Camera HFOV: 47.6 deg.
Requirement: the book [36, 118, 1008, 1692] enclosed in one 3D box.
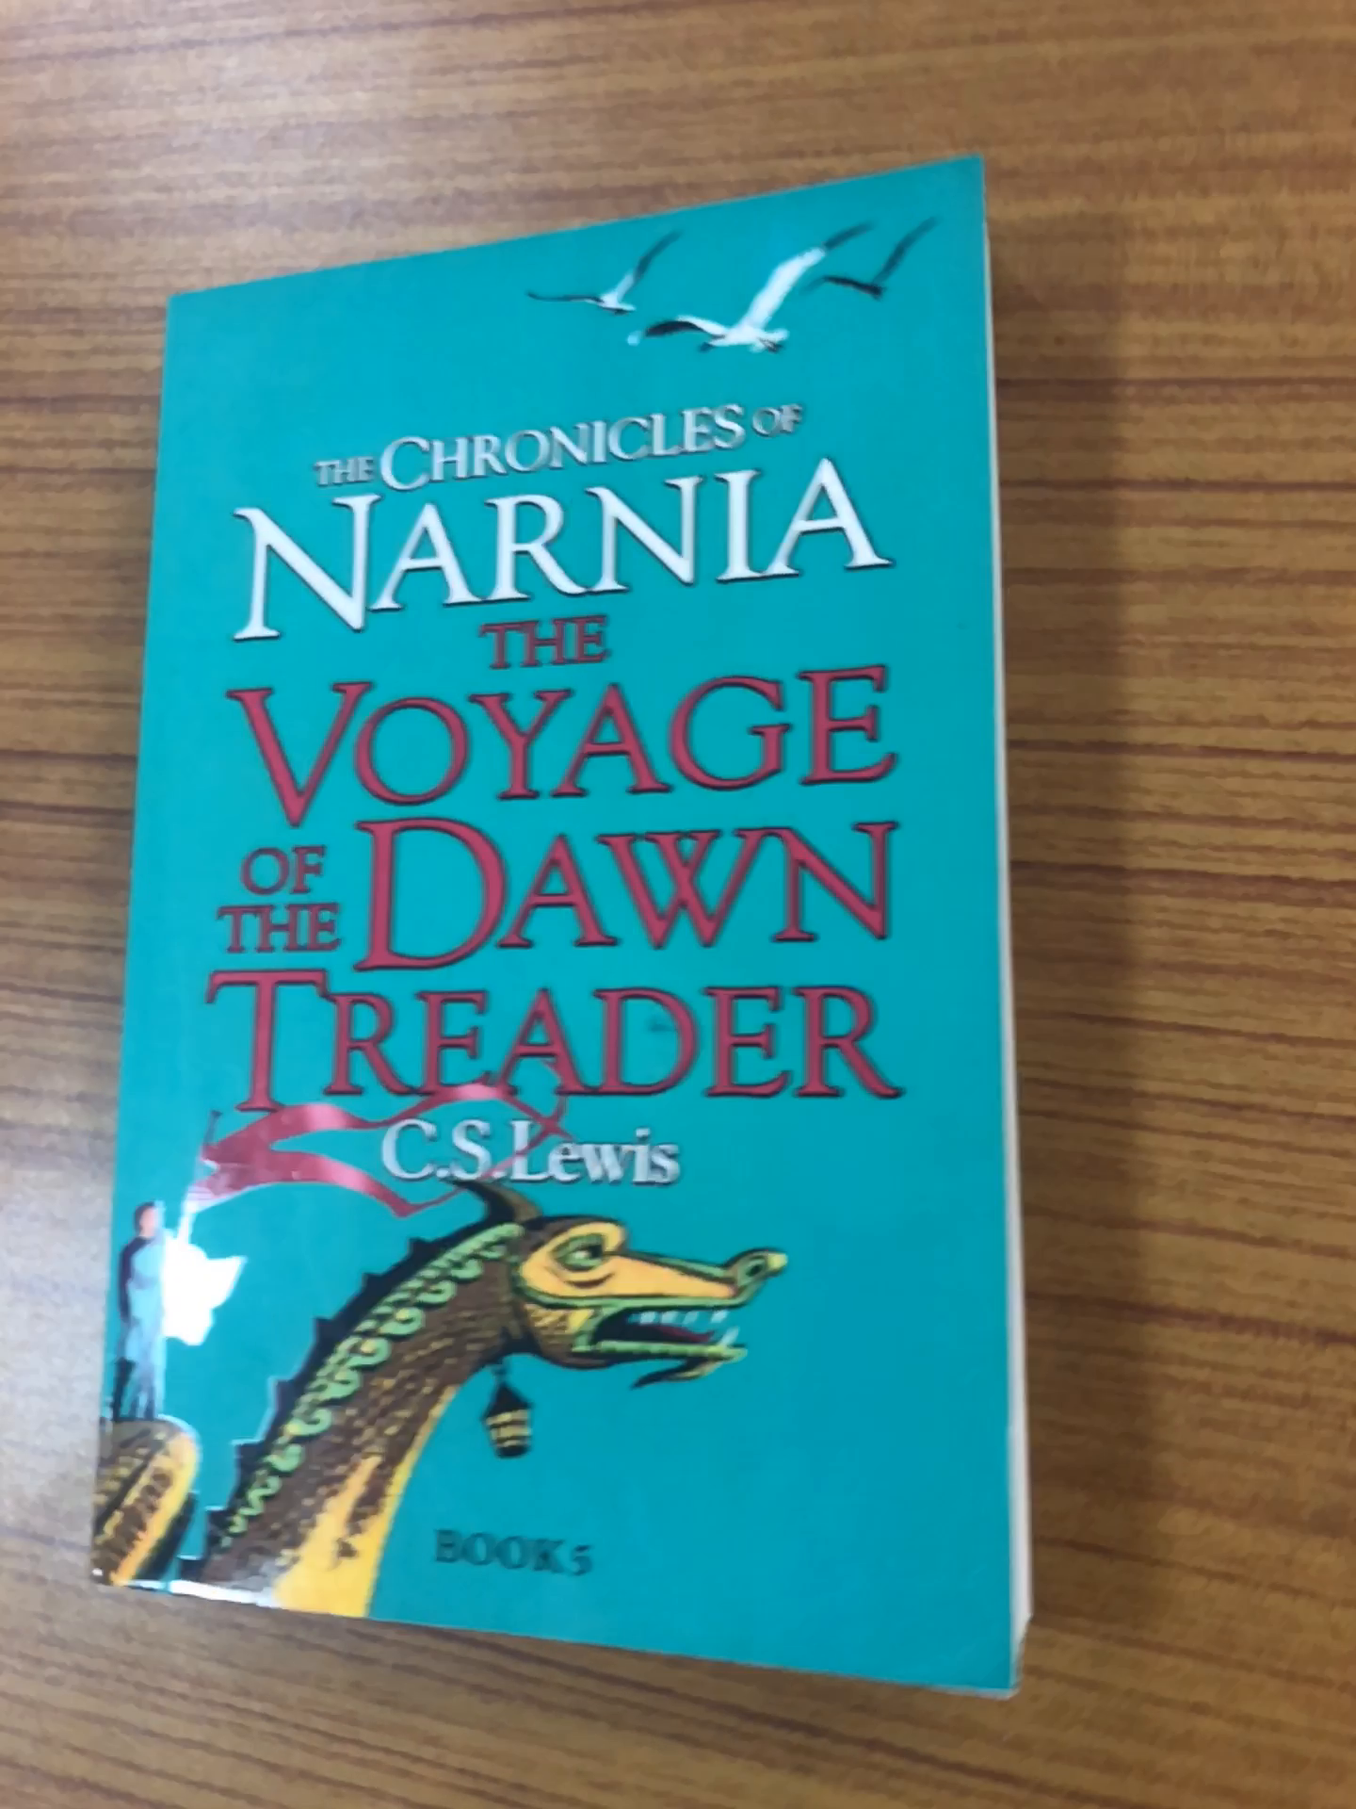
[{"bbox_3d":[-0.022,-0.003,0.225,0.130,0.030,0.200,-2,81,15],"label":"book"}]
